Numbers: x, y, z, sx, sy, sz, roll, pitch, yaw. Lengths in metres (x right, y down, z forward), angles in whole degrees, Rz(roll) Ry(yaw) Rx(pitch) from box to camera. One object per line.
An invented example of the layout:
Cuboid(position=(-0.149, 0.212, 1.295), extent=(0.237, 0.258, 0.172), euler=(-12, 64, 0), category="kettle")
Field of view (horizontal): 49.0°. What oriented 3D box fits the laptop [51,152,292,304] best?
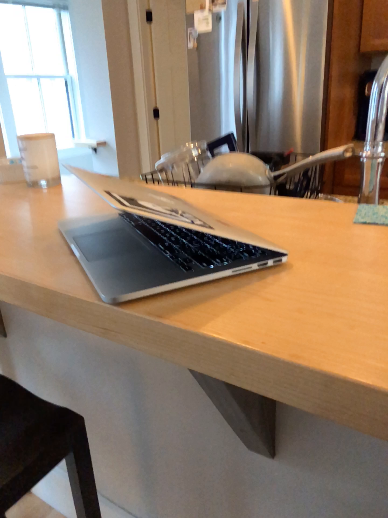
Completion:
Cuboid(position=(-0.052, -0.067, 0.553), extent=(0.210, 0.084, 0.301), euler=(-12, 24, -21), category="laptop")
